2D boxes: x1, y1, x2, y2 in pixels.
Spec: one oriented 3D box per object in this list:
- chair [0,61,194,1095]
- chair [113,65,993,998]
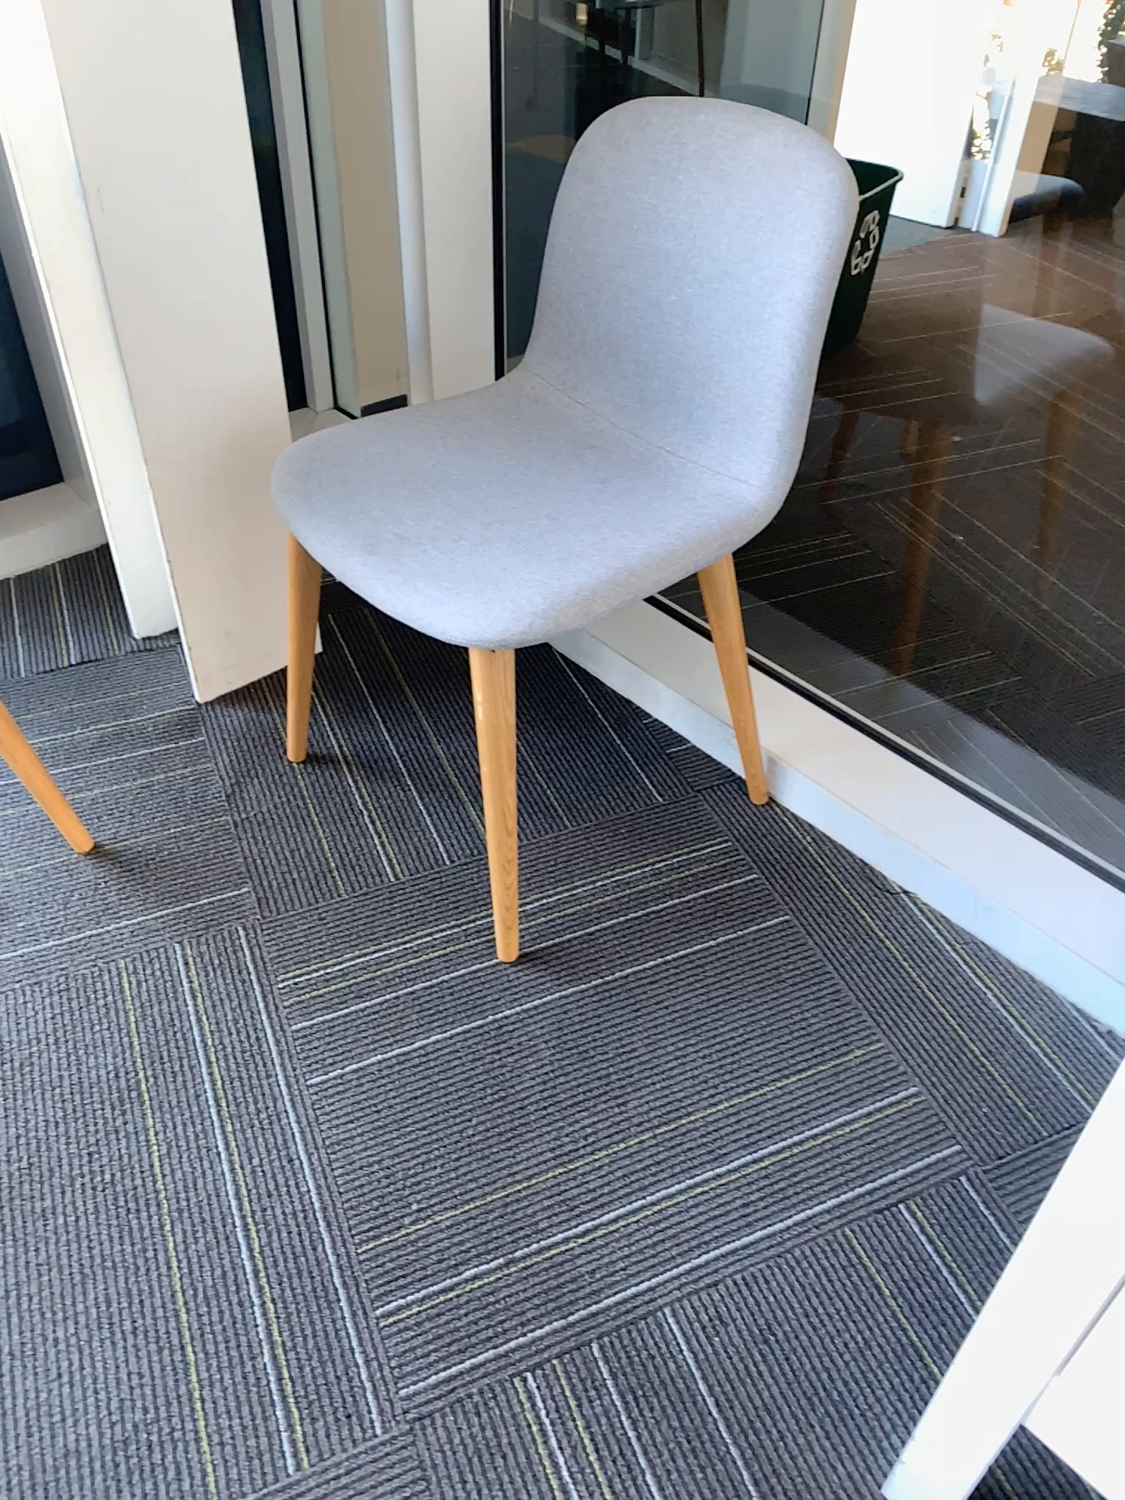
[{"bbox_3d":[-0.899,-0.229,1.220,0.652,0.726,0.601,33,49,31],"label":"chair"},{"bbox_3d":[-0.015,-0.277,1.295,0.591,0.726,0.562,-31,51,-33],"label":"chair"}]
